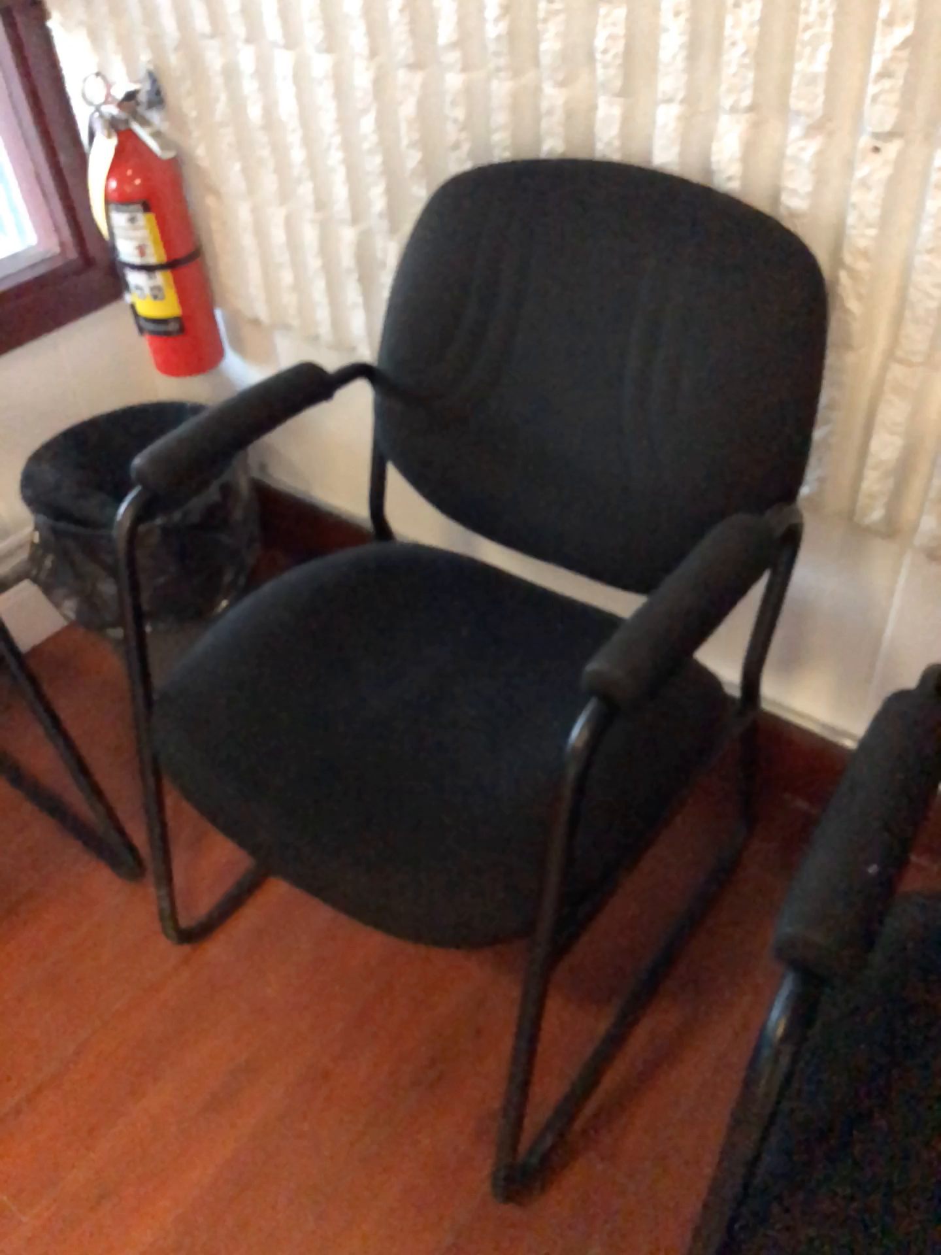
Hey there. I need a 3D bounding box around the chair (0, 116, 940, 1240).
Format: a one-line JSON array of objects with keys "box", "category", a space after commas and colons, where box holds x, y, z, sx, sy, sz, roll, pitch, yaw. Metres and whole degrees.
[{"box": [0.021, 0.002, 1.160, 0.592, 0.795, 0.773, 24, 50, 29], "category": "chair"}]
